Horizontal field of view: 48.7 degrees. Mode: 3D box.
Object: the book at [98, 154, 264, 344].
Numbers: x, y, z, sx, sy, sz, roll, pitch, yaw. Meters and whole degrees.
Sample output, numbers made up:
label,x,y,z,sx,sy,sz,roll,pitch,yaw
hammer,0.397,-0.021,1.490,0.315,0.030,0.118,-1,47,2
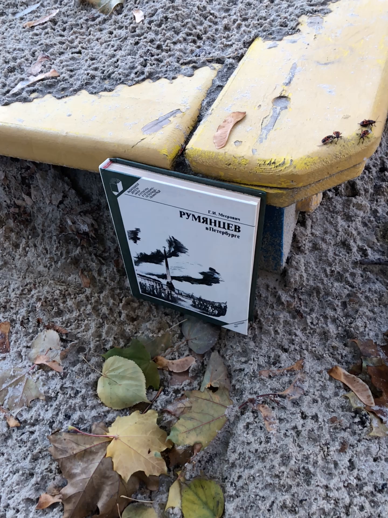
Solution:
label,x,y,z,sx,sy,sz,roll,pitch,yaw
book,-0.010,-0.006,0.387,0.140,0.155,0.020,18,45,25
